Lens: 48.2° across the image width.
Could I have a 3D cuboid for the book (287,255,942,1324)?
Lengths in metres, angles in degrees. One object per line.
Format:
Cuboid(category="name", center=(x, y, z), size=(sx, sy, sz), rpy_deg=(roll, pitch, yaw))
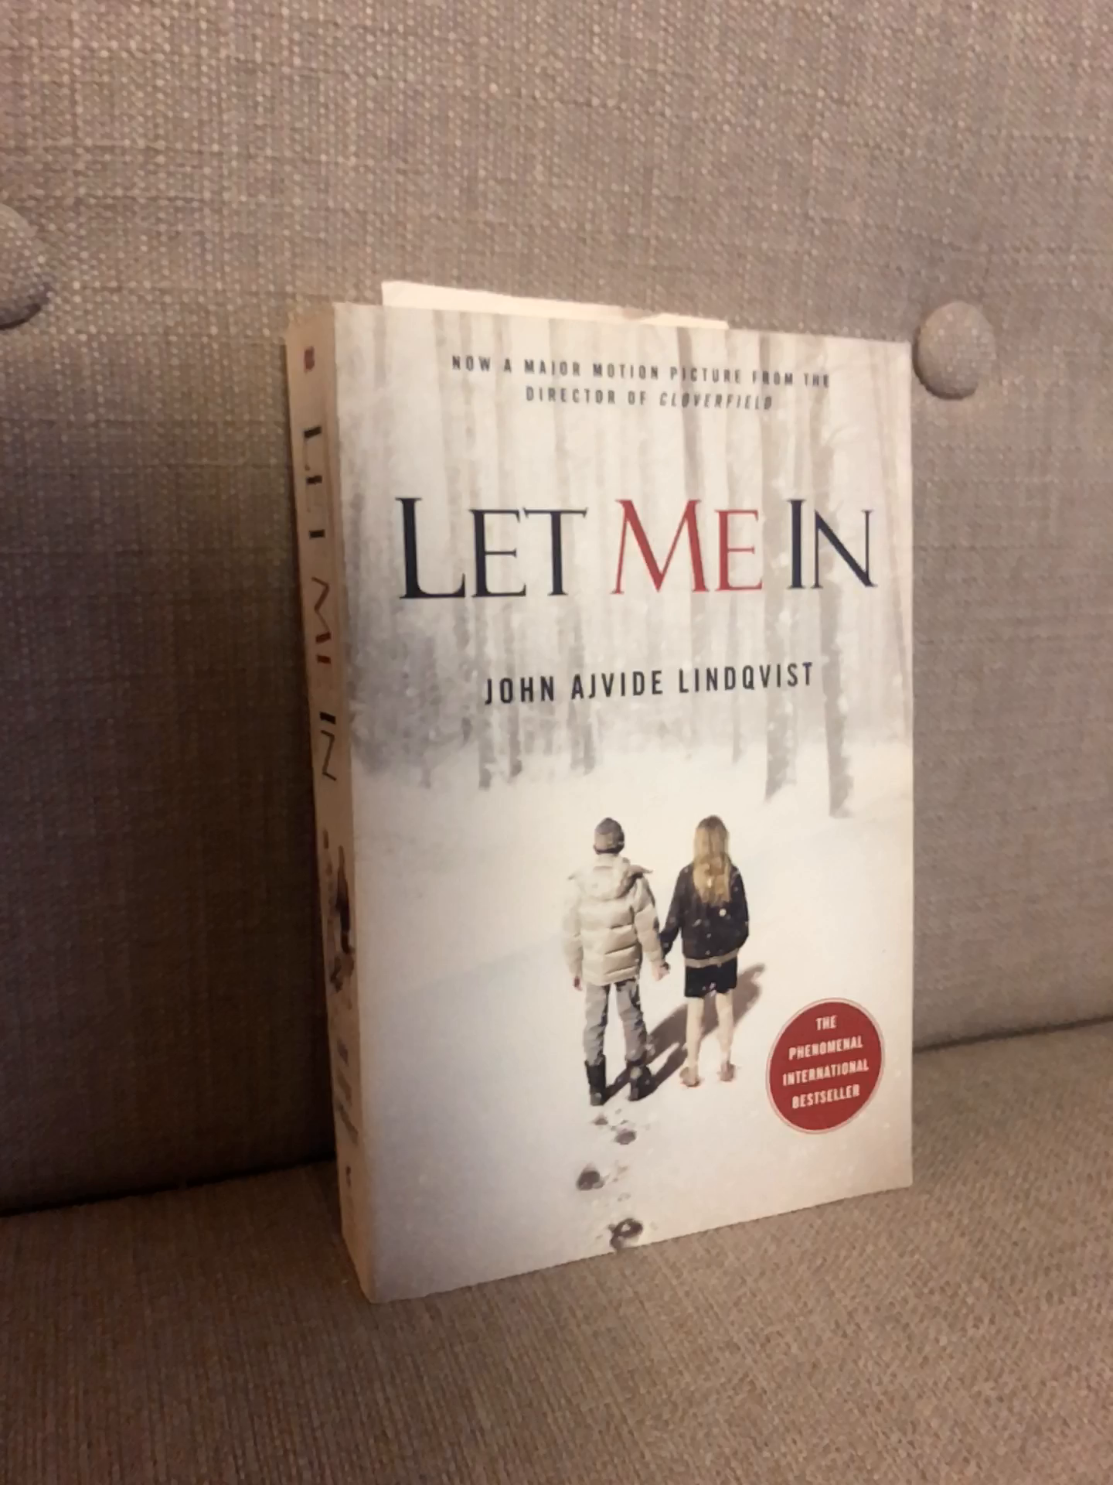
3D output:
Cuboid(category="book", center=(0.017, 0.008, 0.297), size=(0.147, 0.216, 0.043), rpy_deg=(-3, 5, -21))
